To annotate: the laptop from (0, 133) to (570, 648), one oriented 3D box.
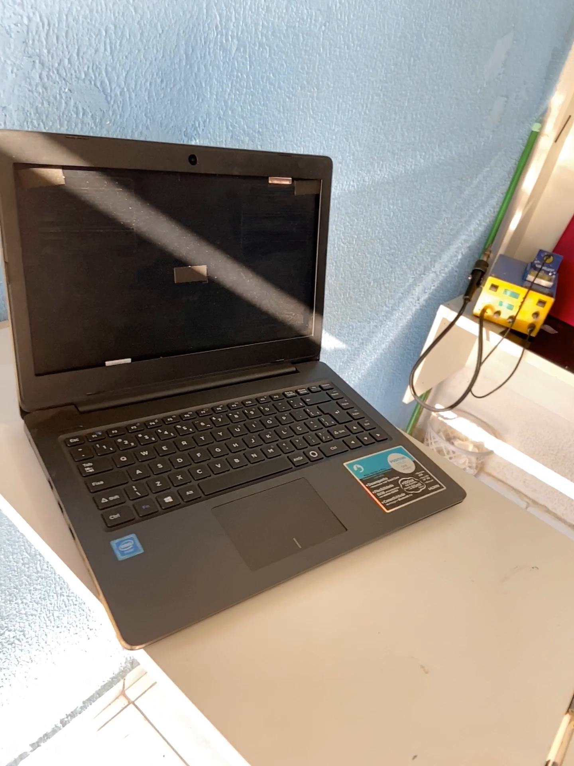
[{"bbox_3d":[-0.025,-0.041,0.504,0.339,0.214,0.310,-11,41,-35],"label":"laptop"}]
